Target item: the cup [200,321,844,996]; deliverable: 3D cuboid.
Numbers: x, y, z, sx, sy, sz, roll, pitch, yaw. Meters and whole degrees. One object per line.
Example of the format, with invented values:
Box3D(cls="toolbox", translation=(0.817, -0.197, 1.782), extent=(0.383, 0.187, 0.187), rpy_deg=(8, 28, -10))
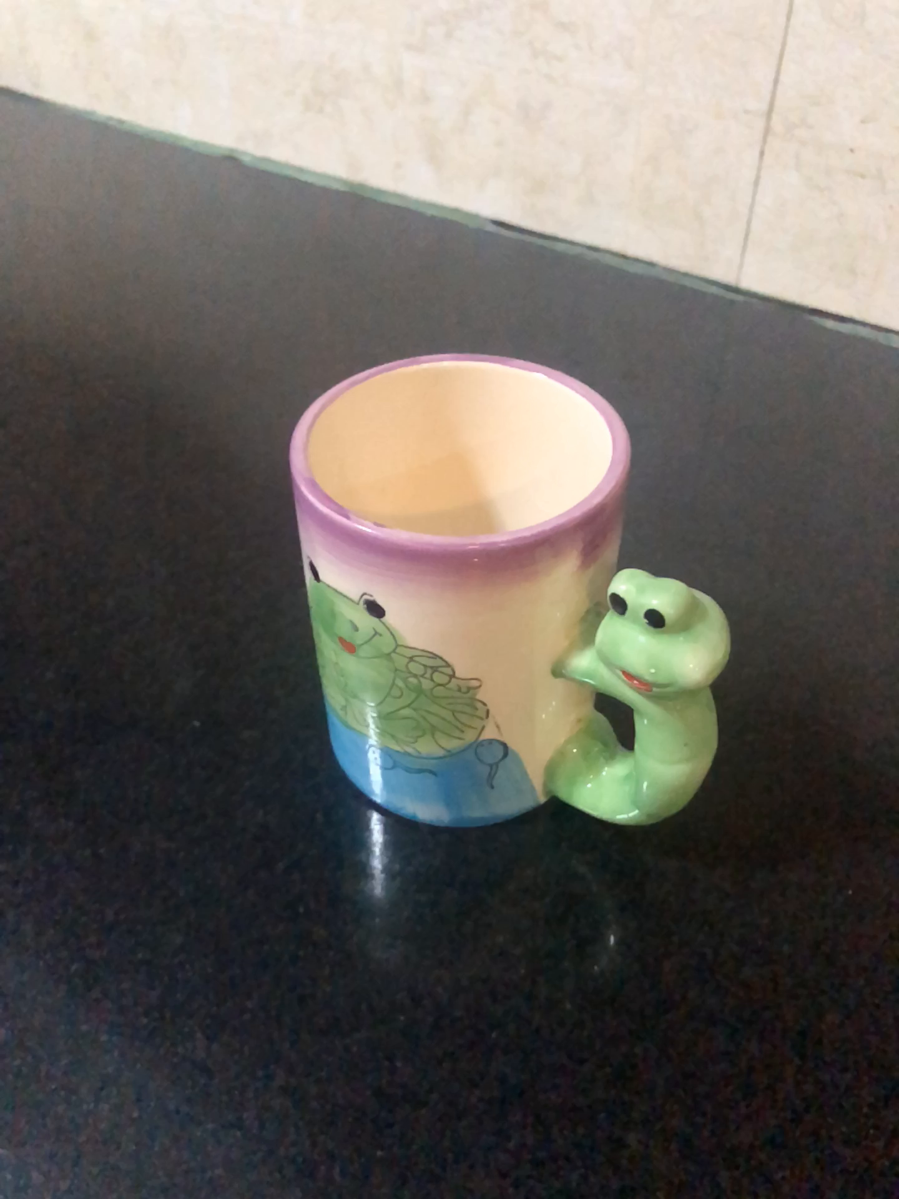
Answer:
Box3D(cls="cup", translation=(0.018, 0.011, 0.244), extent=(0.110, 0.109, 0.080), rpy_deg=(18, 45, 20))
